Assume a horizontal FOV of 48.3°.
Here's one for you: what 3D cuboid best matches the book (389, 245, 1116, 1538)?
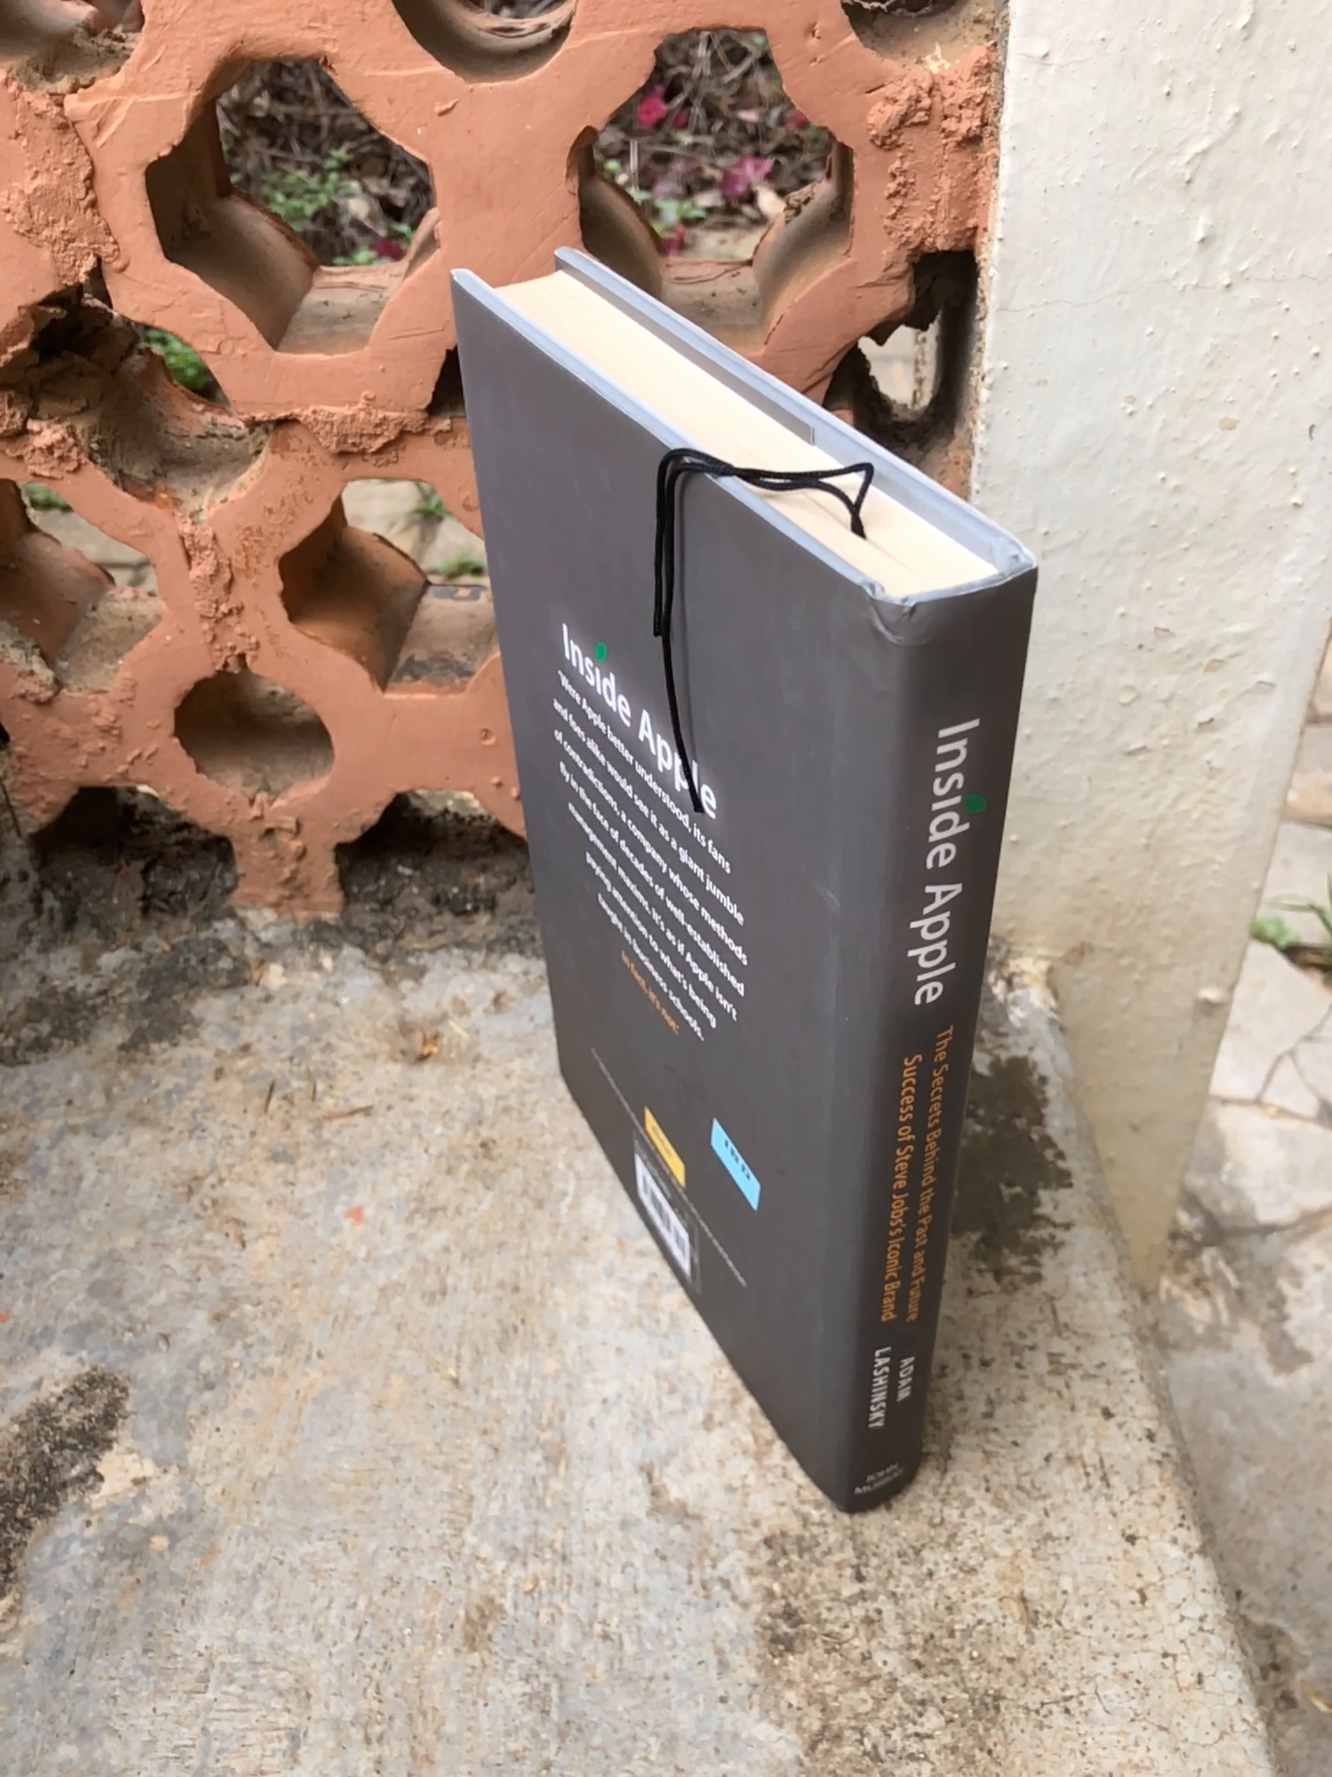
[{"bbox_3d":[0.009,0.003,0.316,0.040,0.219,0.171,-21,43,-18],"label":"book"}]
